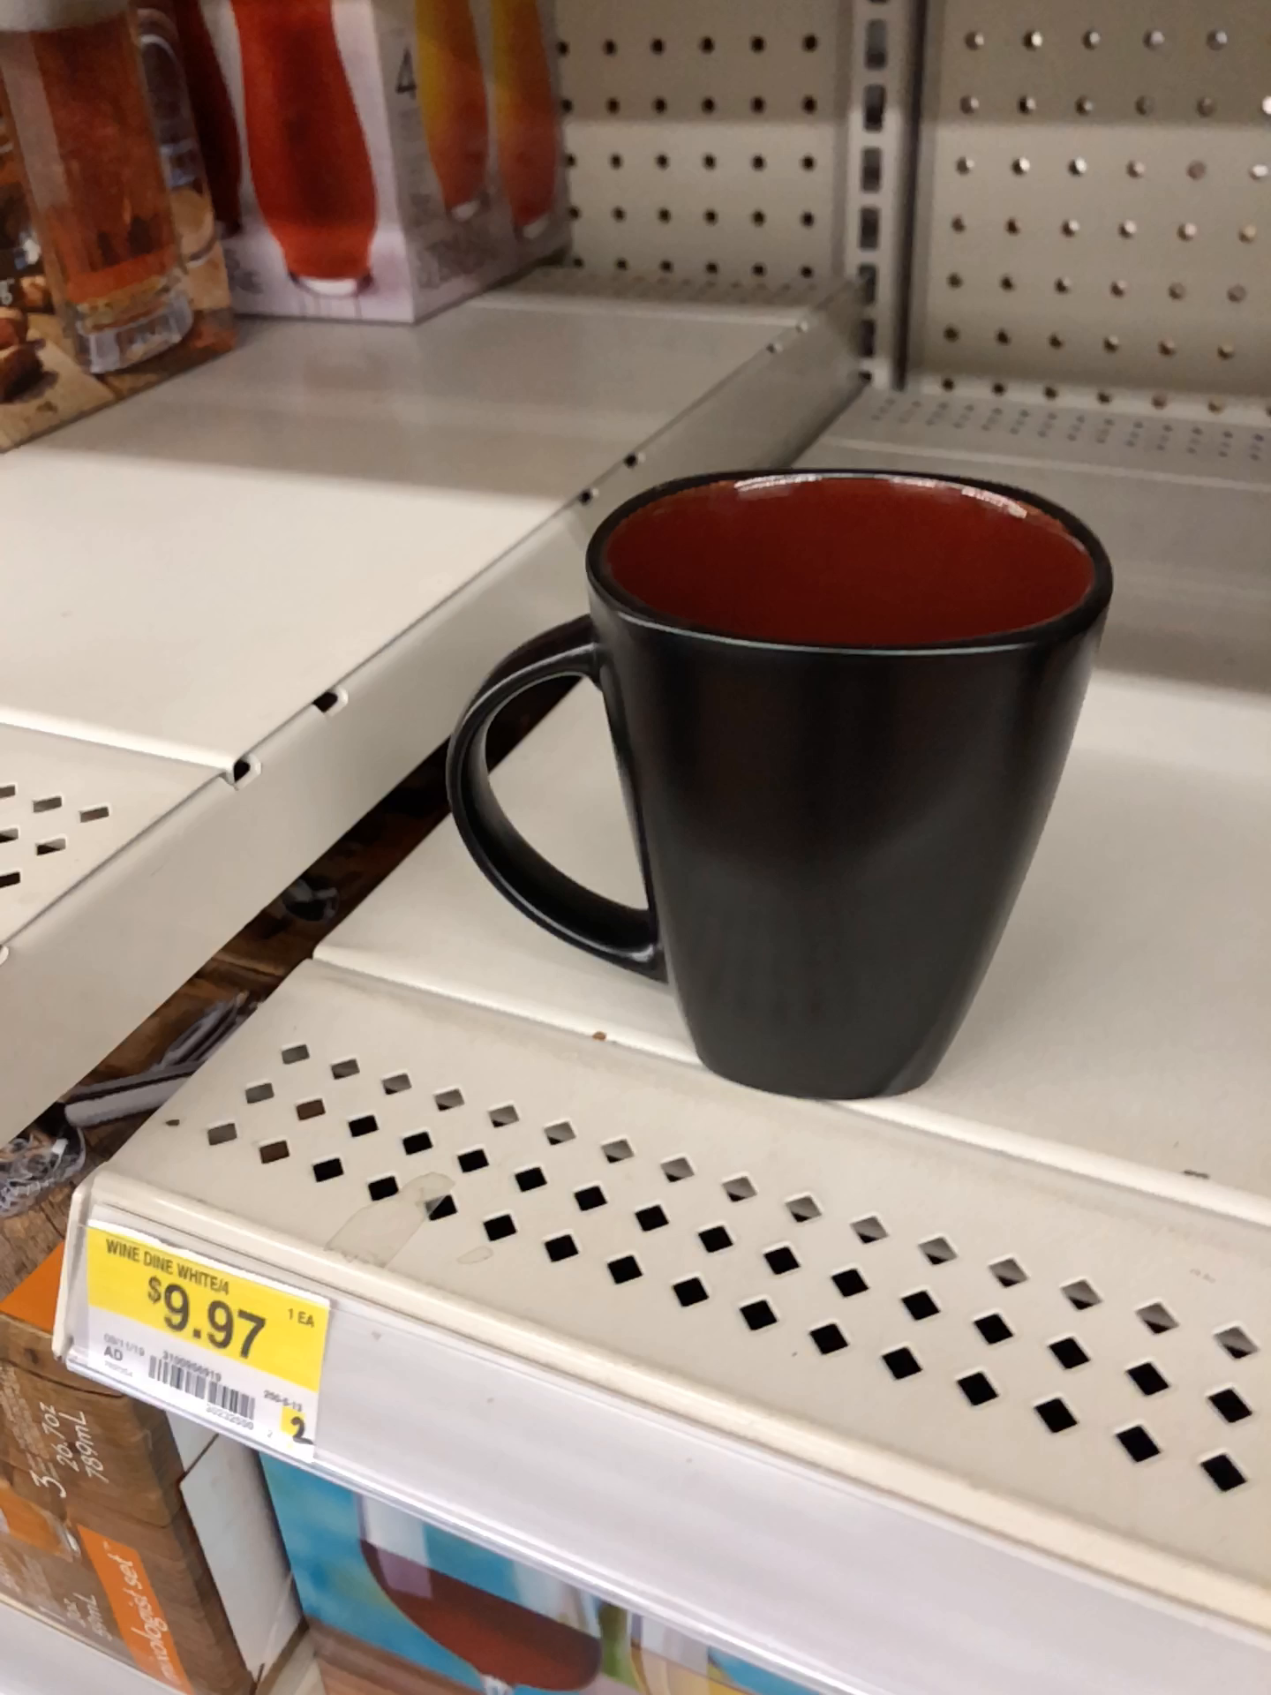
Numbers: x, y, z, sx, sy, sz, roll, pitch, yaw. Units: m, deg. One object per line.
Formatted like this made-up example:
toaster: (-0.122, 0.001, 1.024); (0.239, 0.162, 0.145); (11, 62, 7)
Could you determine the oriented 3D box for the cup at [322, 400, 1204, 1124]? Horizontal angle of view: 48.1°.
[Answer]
cup: (0.026, -0.022, 0.273); (0.130, 0.100, 0.090); (4, 34, 11)
